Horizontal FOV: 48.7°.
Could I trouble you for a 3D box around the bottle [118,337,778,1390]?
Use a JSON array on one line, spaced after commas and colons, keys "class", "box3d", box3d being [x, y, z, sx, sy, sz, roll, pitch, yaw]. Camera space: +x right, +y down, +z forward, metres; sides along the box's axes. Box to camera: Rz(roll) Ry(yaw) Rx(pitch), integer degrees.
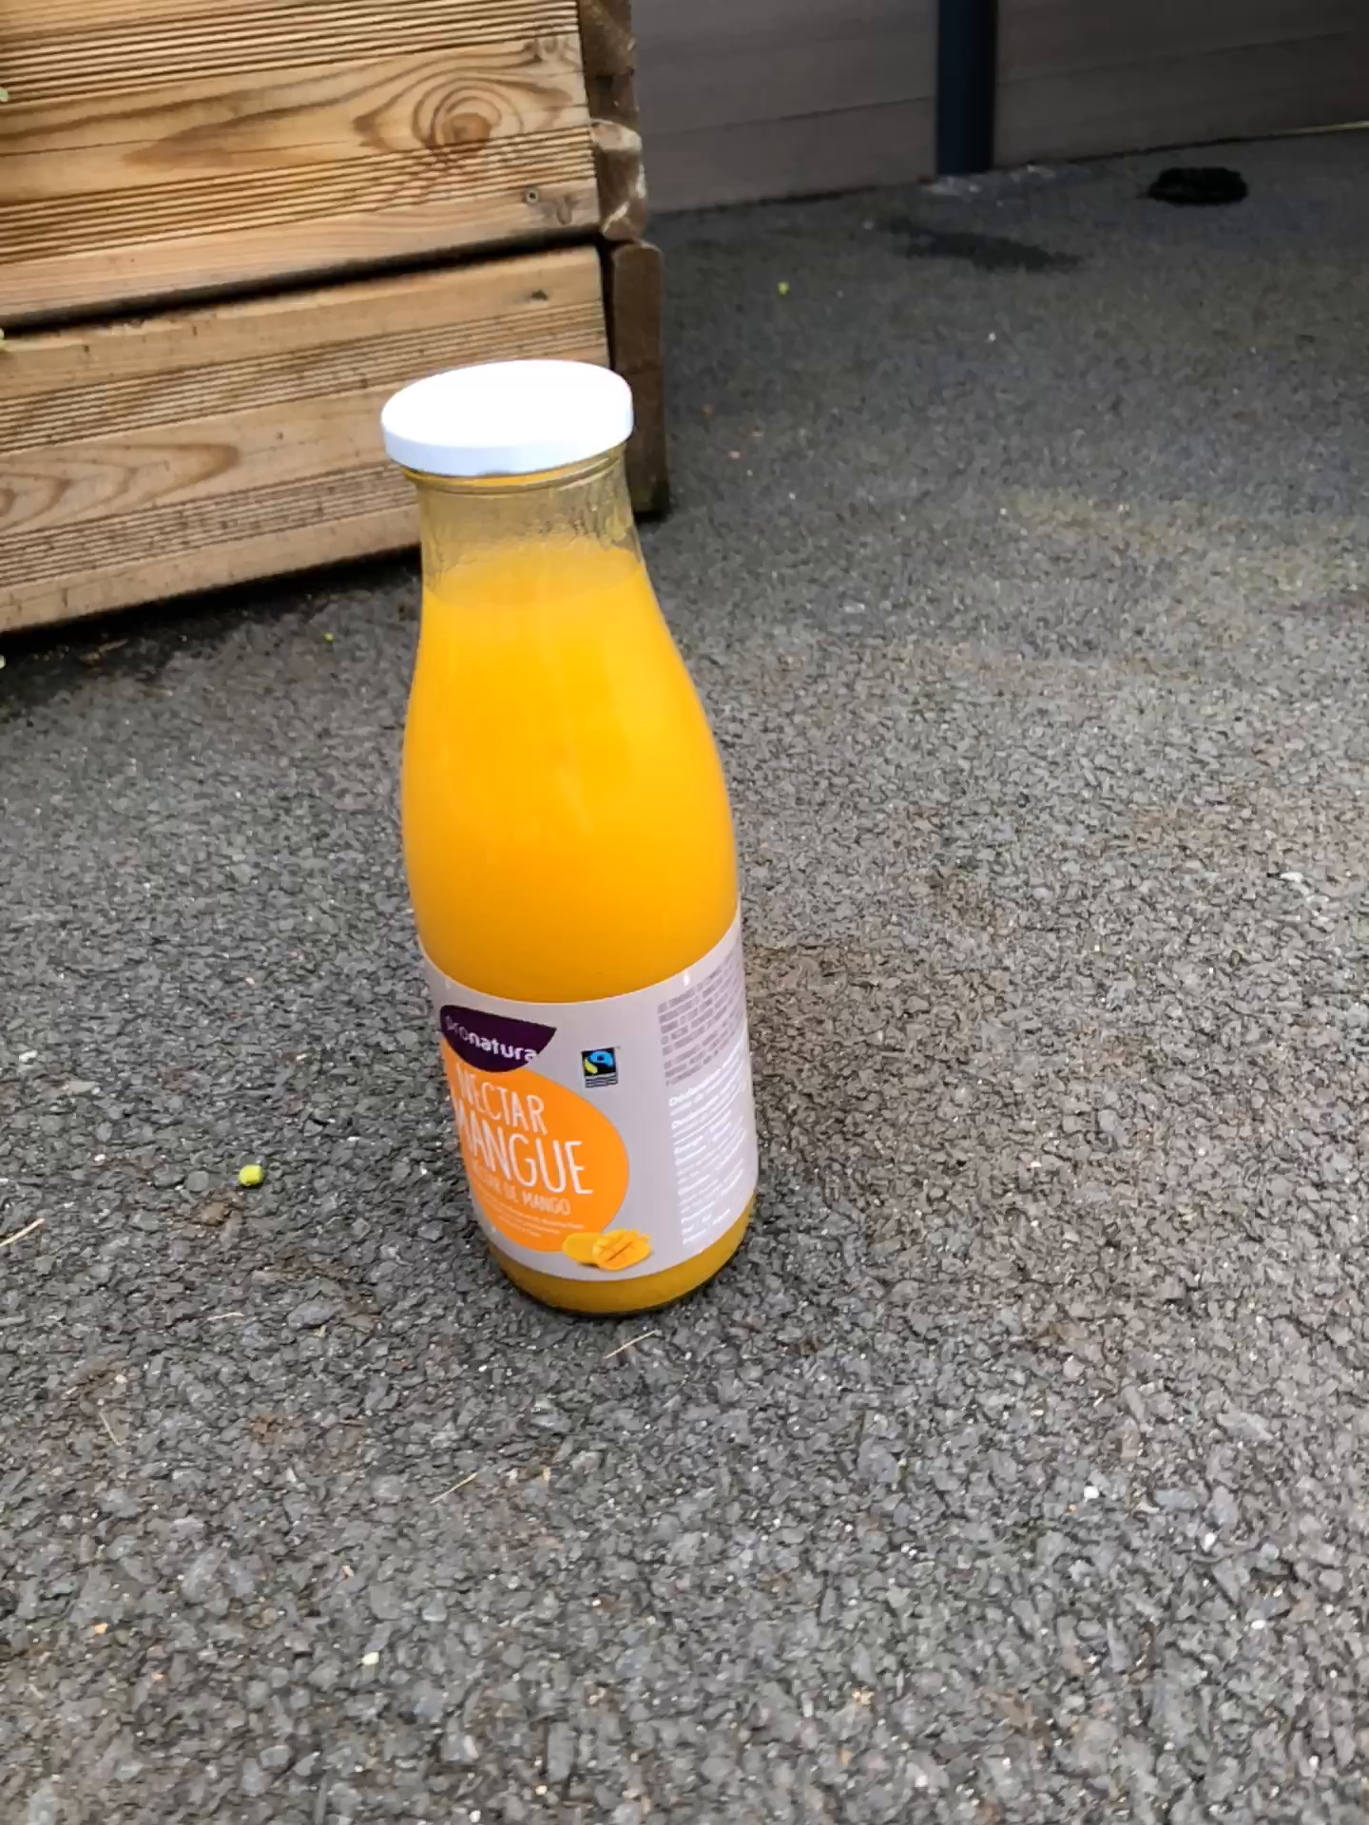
[{"class": "bottle", "box3d": [-0.039, -0.007, 0.337, 0.080, 0.209, 0.080, -4, 33, 2]}]
